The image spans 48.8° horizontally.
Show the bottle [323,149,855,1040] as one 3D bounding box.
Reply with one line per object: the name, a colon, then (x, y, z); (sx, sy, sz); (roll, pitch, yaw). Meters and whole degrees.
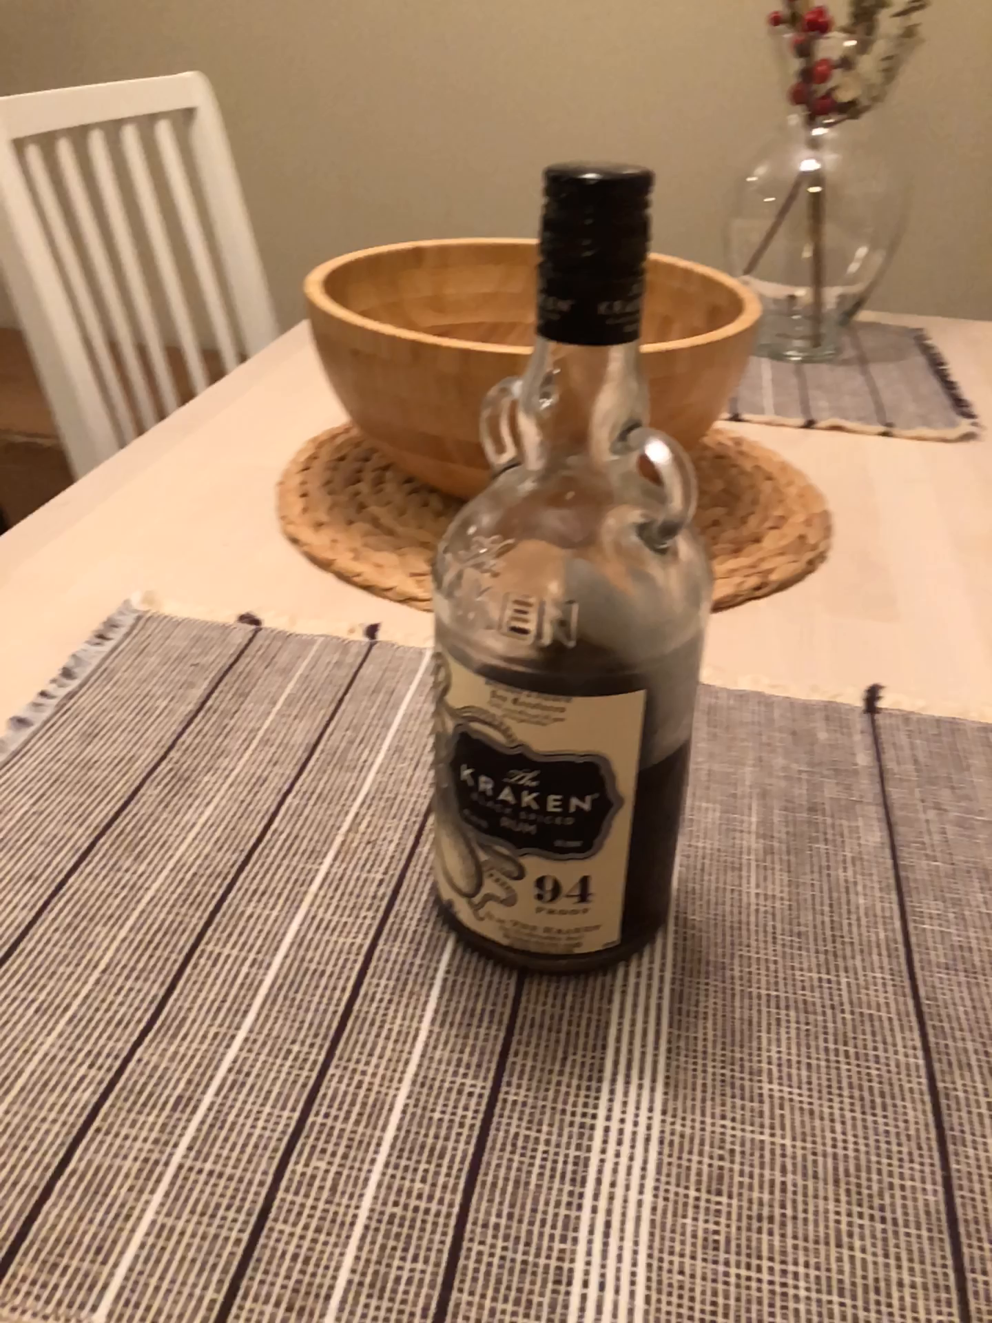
bottle: (0.021, -0.021, 0.352); (0.100, 0.248, 0.100); (2, 31, -1)
